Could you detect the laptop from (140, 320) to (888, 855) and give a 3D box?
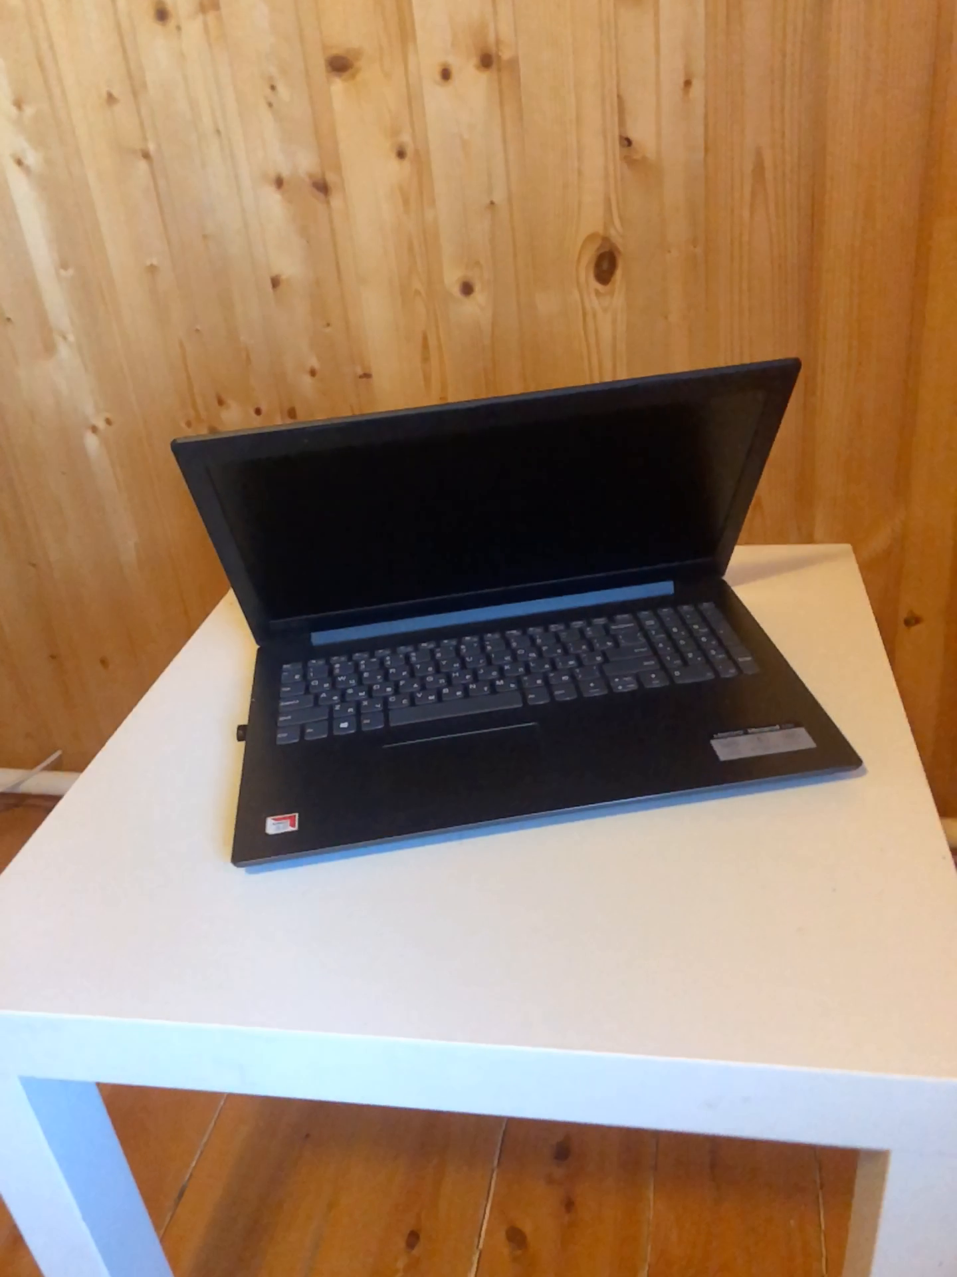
[{"bbox_3d":[0.016,-0.051,0.673,0.372,0.206,0.251,-8,28,-3],"label":"laptop"}]
